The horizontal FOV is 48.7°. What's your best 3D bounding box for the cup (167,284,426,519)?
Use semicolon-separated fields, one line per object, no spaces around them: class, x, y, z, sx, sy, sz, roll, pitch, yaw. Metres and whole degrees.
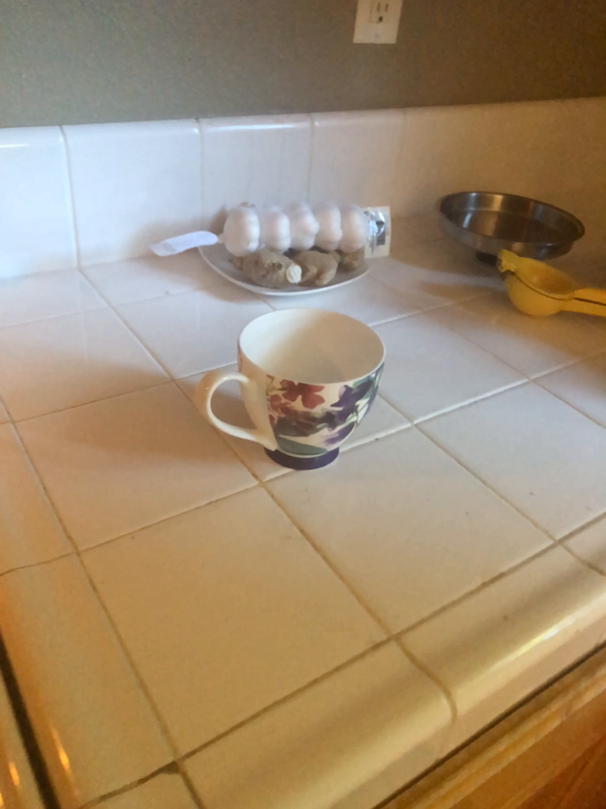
cup;-0.004;-0.011;0.491;0.110;0.079;0.151;31;42;30
